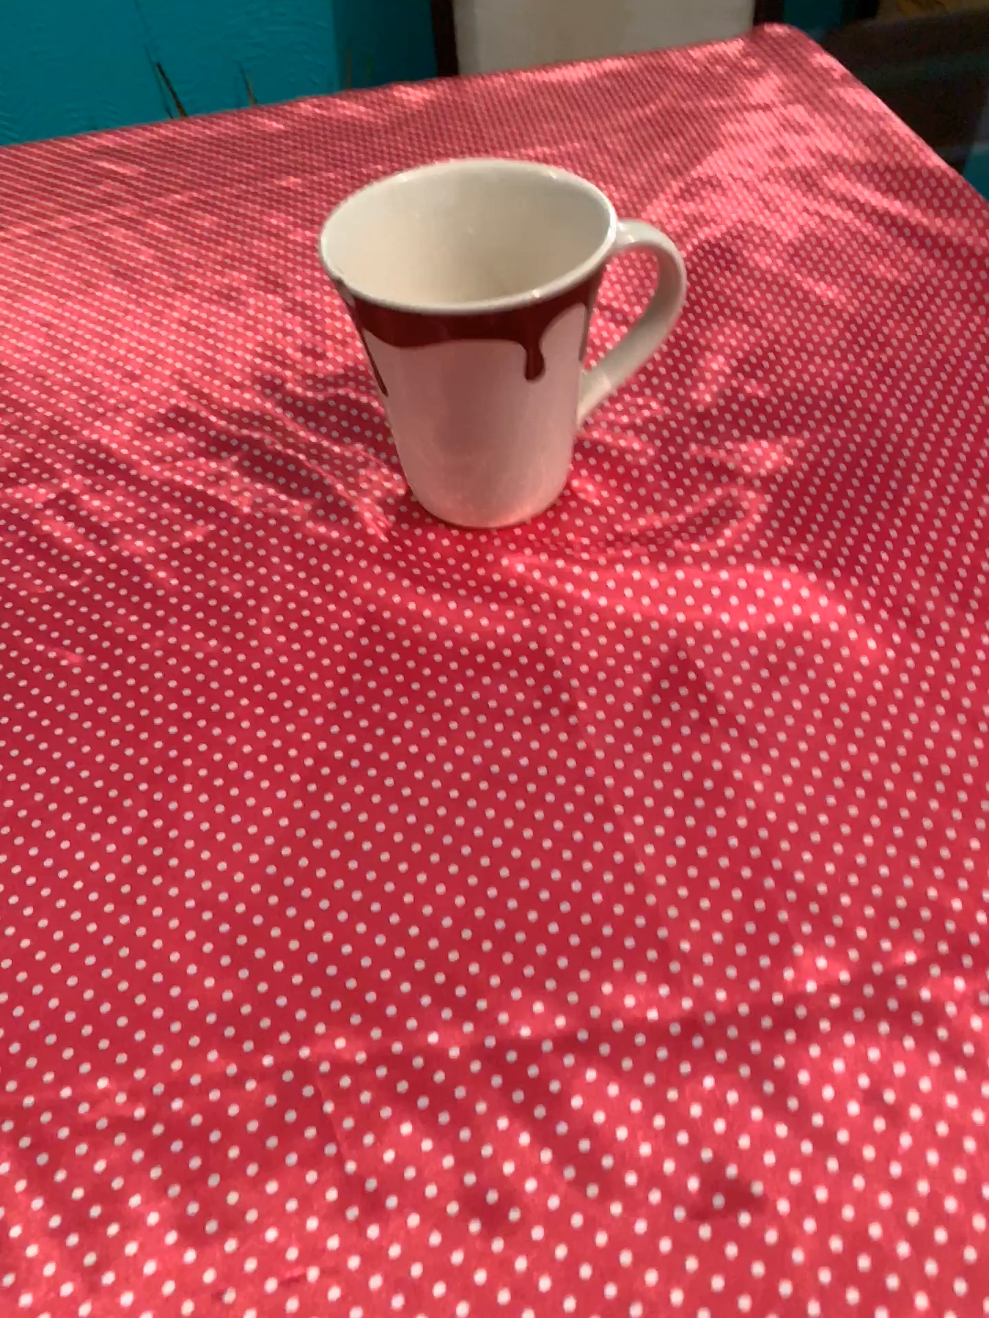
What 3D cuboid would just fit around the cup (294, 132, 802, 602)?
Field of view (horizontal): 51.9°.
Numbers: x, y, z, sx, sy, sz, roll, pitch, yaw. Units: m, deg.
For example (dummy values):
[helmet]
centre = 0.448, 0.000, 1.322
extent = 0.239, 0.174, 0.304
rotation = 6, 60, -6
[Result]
[cup]
centre = 0.015, -0.104, 0.354
extent = 0.130, 0.090, 0.100
rotation = -20, 51, -12
